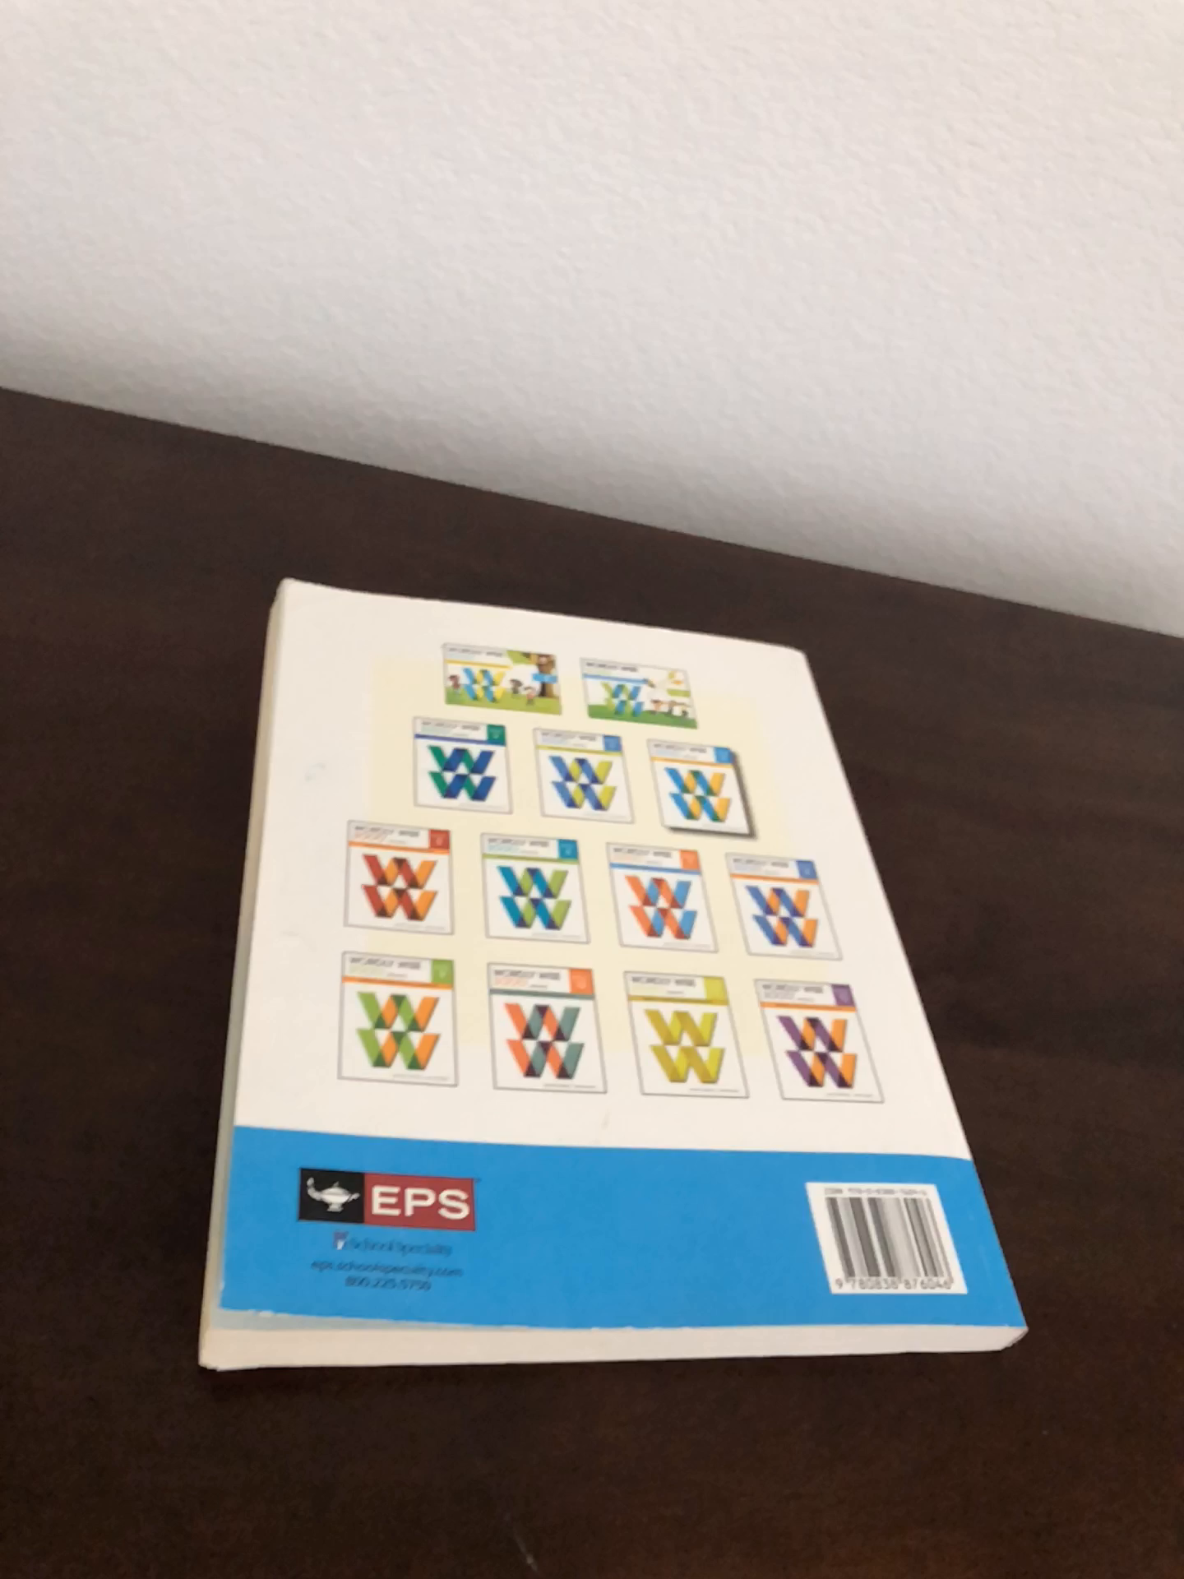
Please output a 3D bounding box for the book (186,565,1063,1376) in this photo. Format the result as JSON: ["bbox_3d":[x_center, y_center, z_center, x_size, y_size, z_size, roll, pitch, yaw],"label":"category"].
[{"bbox_3d":[0.000,0.039,0.422,0.220,0.031,0.272,5,46,-14],"label":"book"}]
